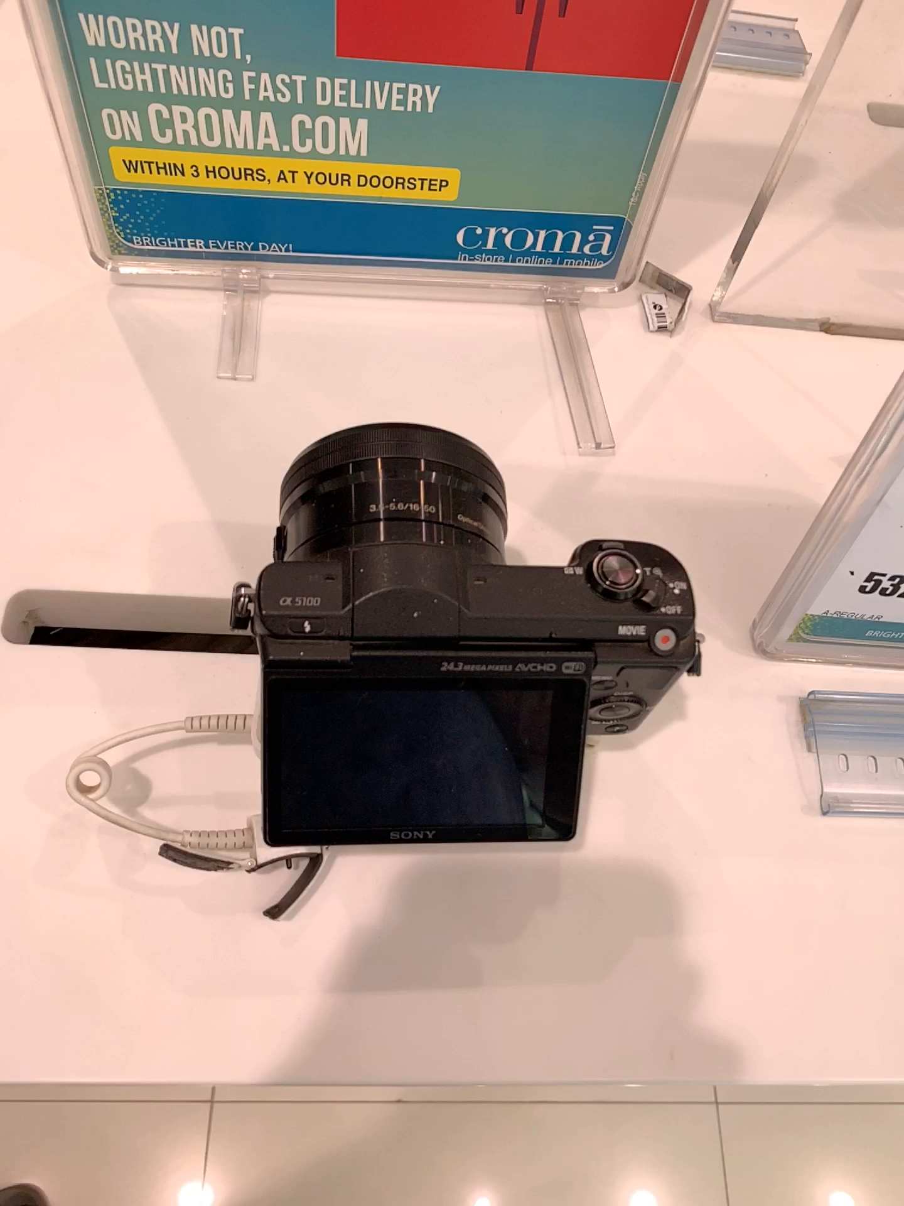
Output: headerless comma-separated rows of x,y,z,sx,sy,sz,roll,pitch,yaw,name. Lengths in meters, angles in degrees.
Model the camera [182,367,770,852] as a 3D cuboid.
0.000,0.006,0.229,0.110,0.082,0.088,0,62,-7,camera
